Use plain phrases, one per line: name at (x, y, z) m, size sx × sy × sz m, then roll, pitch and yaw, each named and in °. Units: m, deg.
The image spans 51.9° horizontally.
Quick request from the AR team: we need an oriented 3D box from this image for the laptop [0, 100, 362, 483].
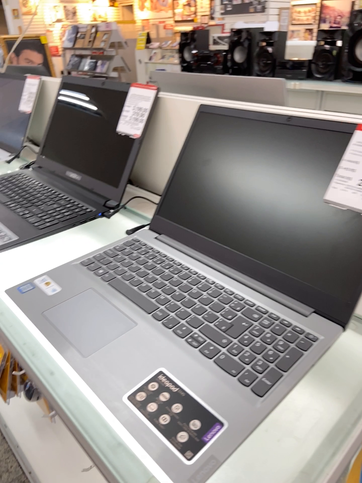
laptop at (0.022, -0.027, 0.471) m, size 0.403 × 0.192 × 0.370 m, roll -27°, pitch 37°, yaw -35°
